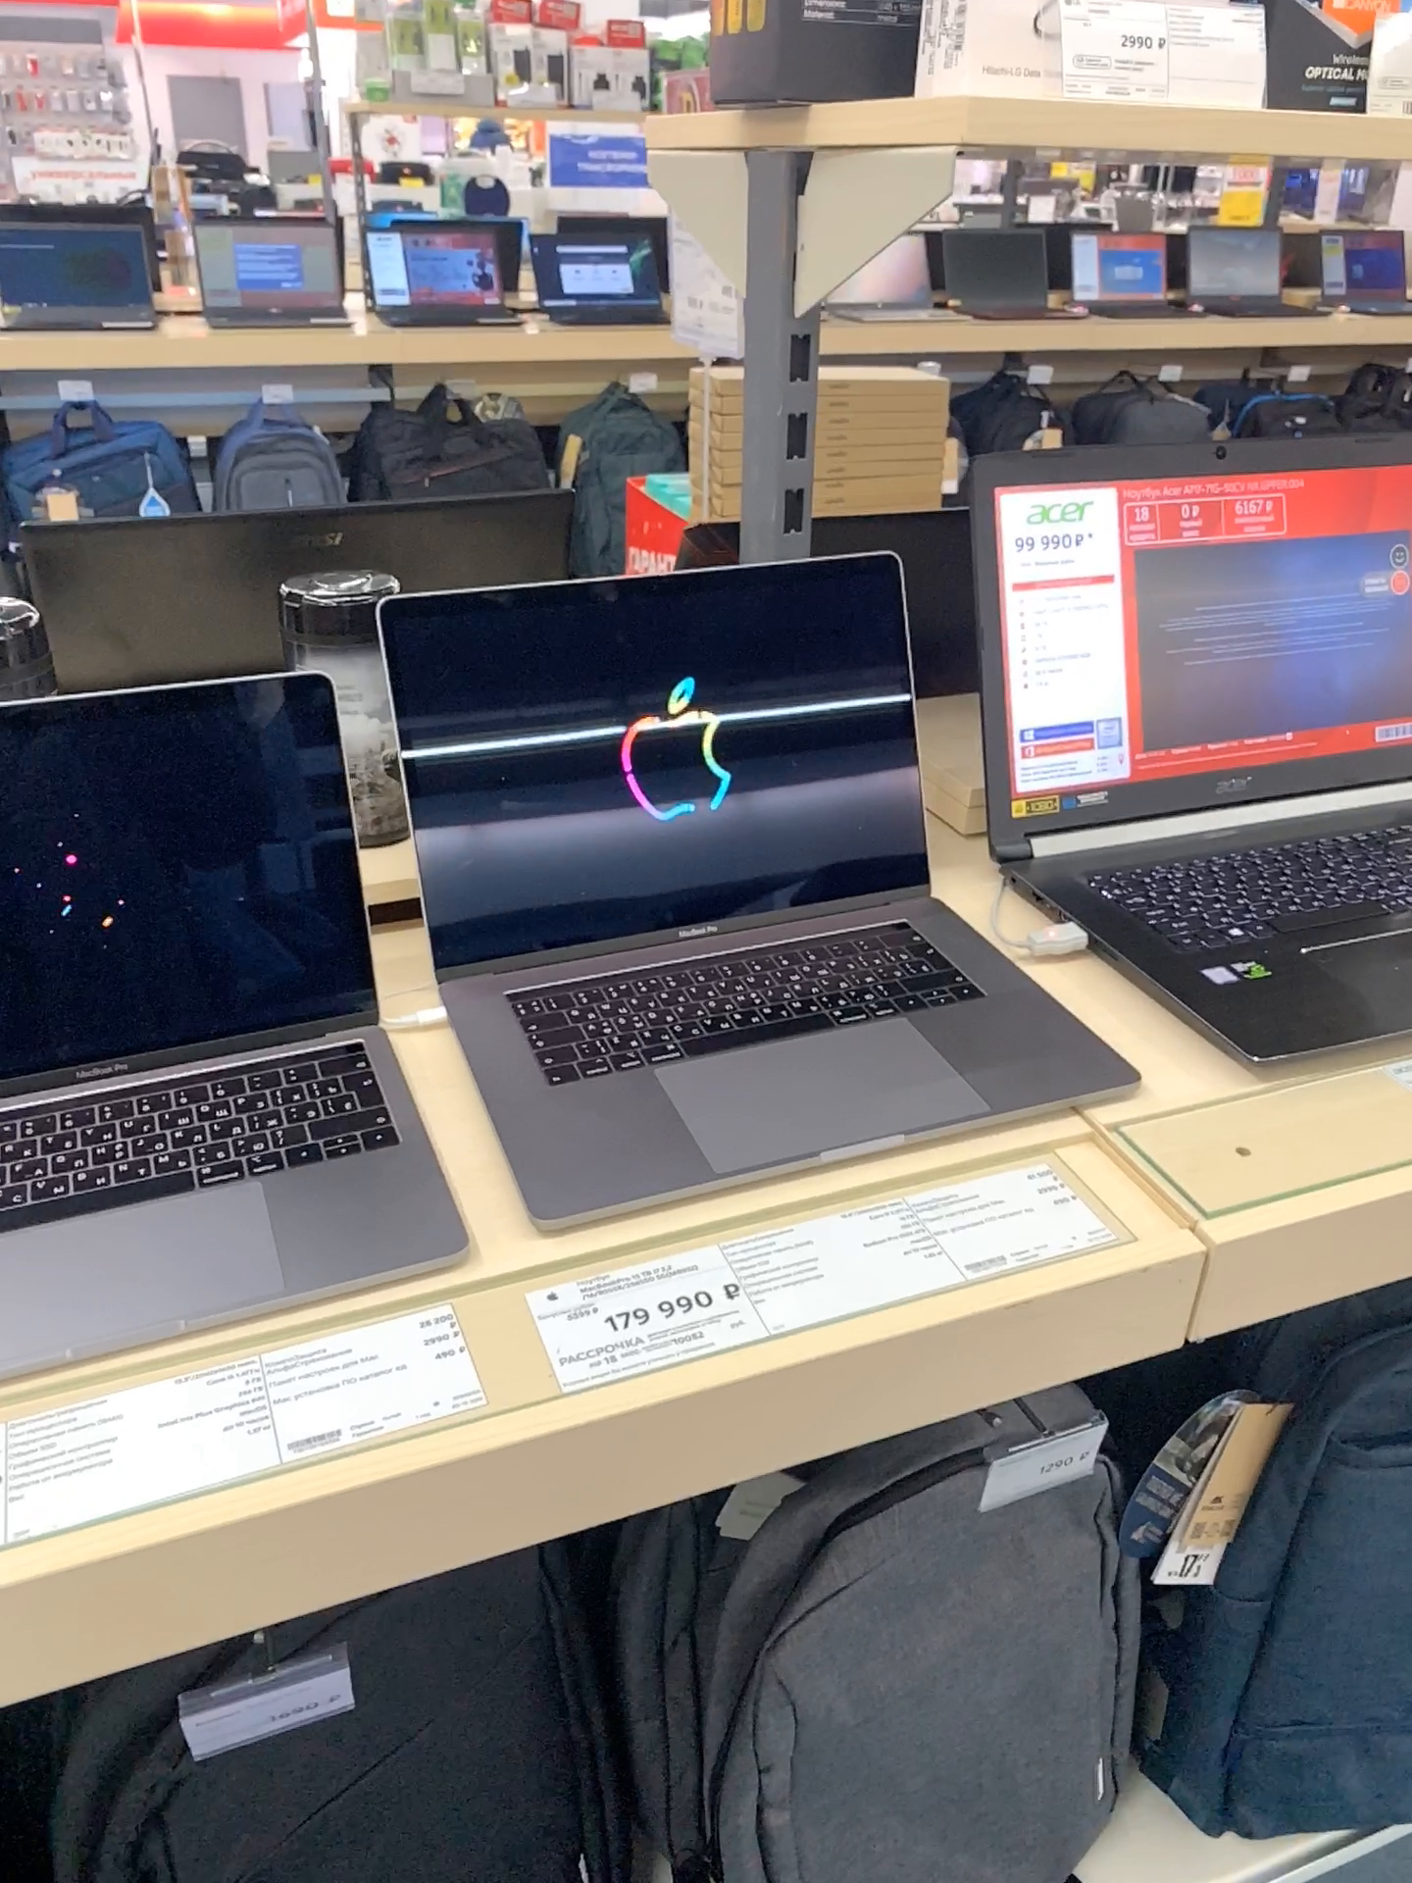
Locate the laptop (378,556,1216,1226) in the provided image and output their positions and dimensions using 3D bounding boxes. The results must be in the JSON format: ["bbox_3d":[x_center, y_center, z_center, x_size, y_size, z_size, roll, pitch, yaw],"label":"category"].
[{"bbox_3d":[0.024,-0.061,0.825,0.345,0.210,0.326,-10,31,-19],"label":"laptop"}]
